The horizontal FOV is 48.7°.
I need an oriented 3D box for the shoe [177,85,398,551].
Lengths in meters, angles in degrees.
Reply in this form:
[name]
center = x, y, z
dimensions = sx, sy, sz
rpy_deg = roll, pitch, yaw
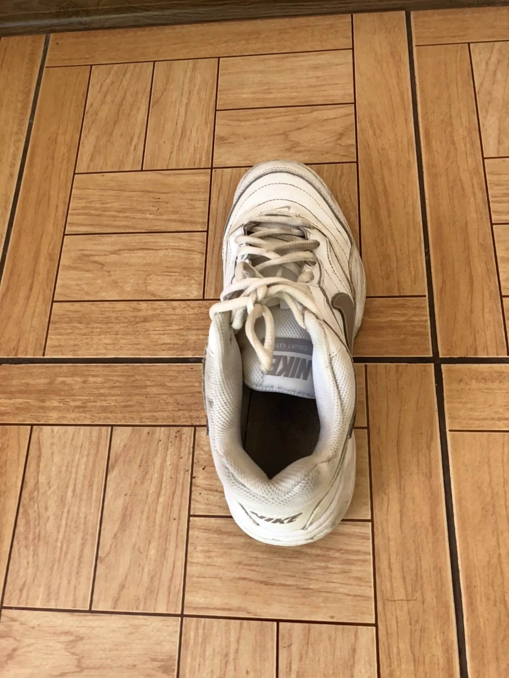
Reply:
[shoe]
center = 0.021, -0.011, 0.344
dimensions = 0.100, 0.100, 0.260
rpy_deg = -1, 70, 6
